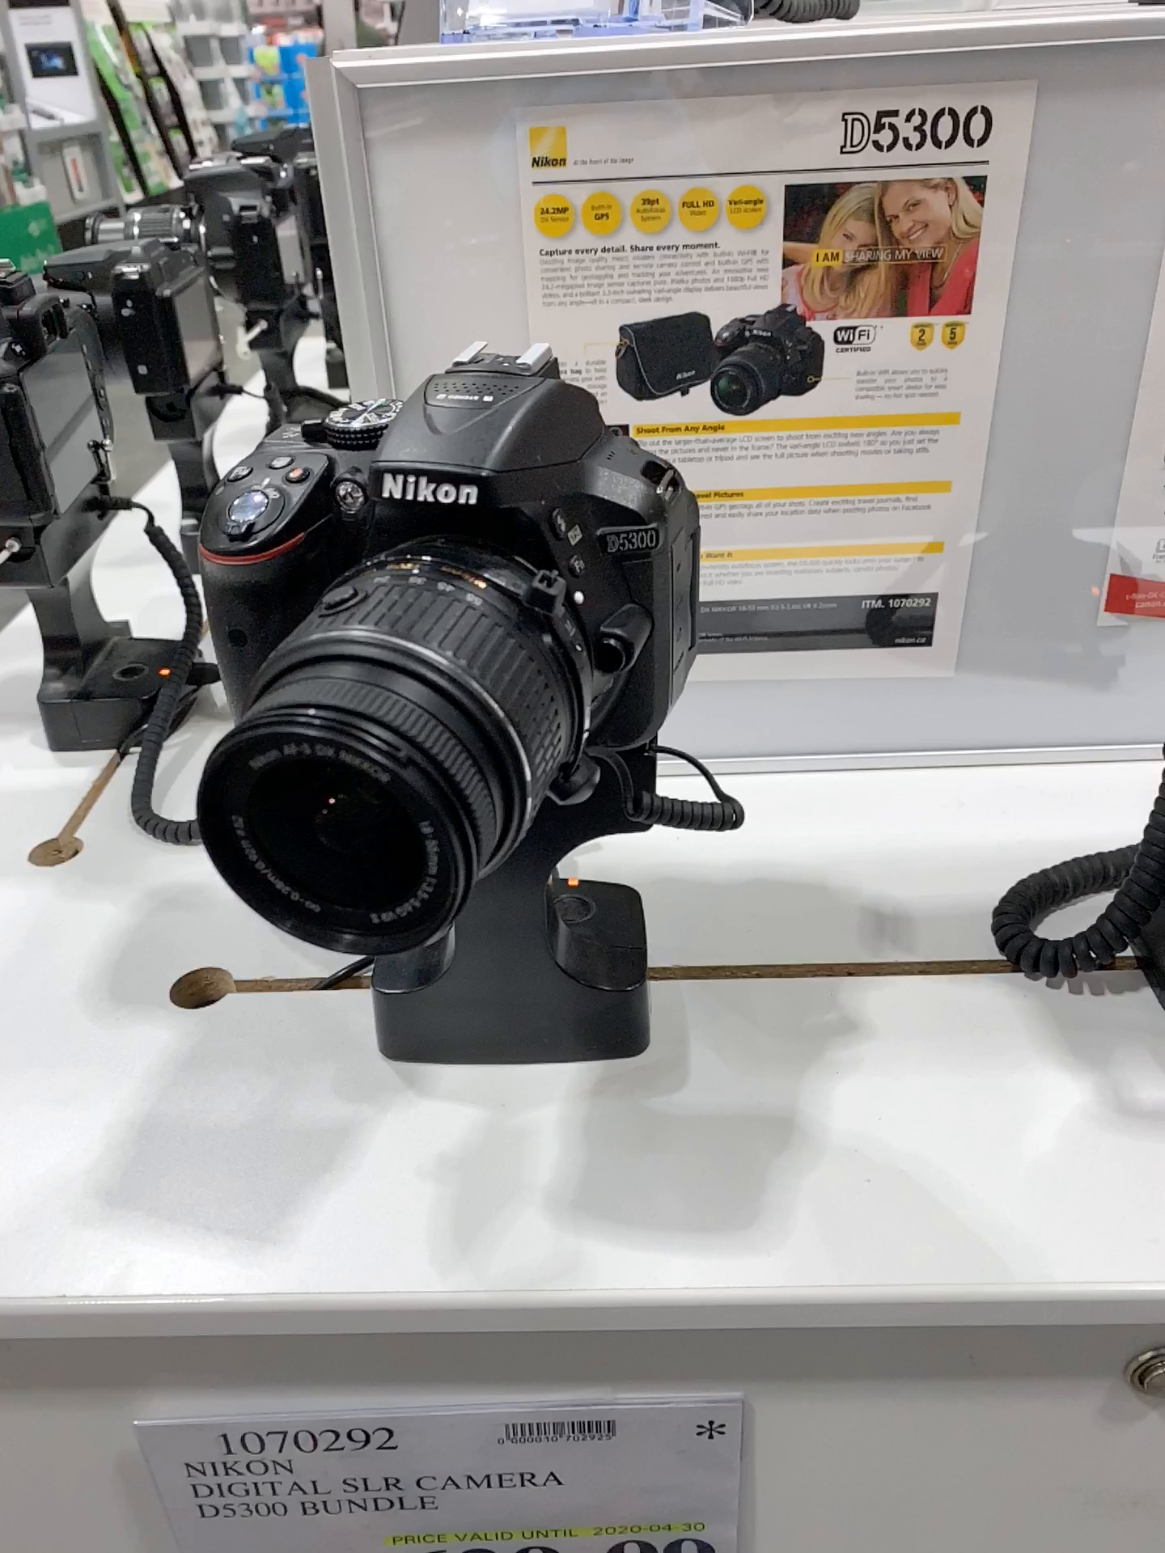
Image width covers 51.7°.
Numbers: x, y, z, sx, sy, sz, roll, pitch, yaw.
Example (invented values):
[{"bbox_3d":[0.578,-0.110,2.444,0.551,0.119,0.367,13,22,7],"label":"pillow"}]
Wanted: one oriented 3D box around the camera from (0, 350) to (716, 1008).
[{"bbox_3d":[-0.036,-0.038,0.299,0.120,0.099,0.151,4,32,12],"label":"camera"}]
